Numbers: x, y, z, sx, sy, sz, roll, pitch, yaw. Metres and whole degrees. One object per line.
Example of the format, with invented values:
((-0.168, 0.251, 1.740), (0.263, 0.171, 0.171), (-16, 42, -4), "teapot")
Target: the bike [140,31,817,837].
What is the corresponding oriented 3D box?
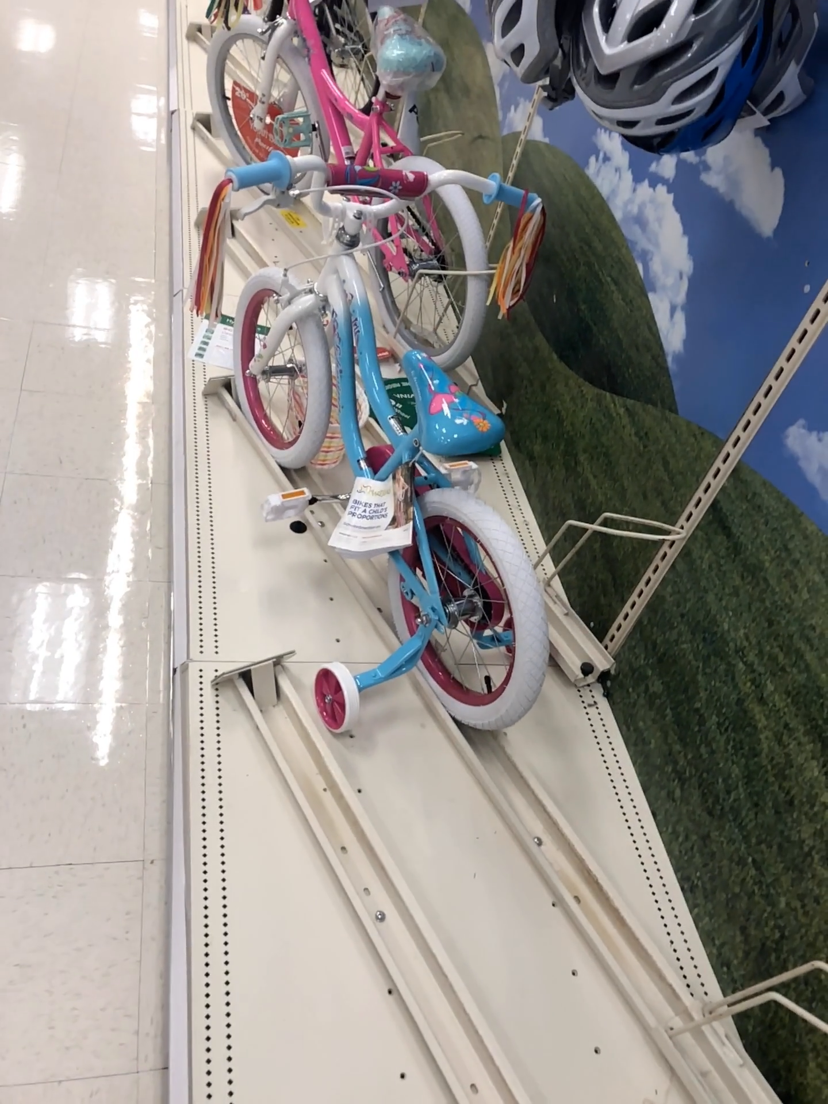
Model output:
((-0.024, -0.273, 1.582), (0.533, 0.724, 1.093), (-14, 53, -33), "bike")
